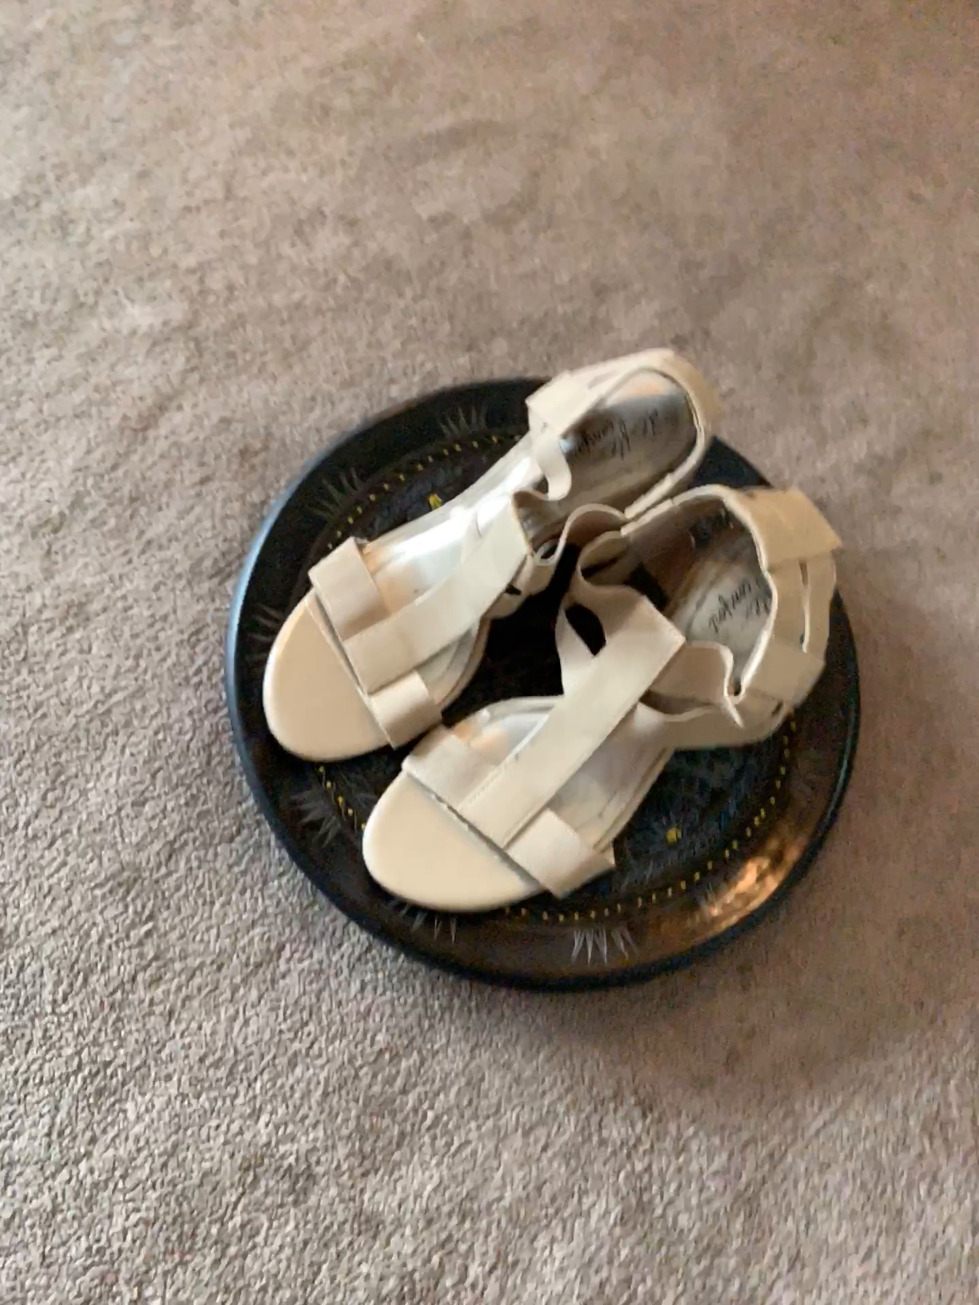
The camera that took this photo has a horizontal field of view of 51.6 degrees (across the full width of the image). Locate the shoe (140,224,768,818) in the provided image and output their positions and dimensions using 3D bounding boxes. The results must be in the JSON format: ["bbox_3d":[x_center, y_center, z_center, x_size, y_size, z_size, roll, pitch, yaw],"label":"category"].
[{"bbox_3d":[-0.010,-0.051,0.402,0.221,0.100,0.090,-42,79,-19],"label":"shoe"}]

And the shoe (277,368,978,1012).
[{"bbox_3d":[0.047,0.015,0.370,0.221,0.100,0.100,-37,78,-18],"label":"shoe"}]
